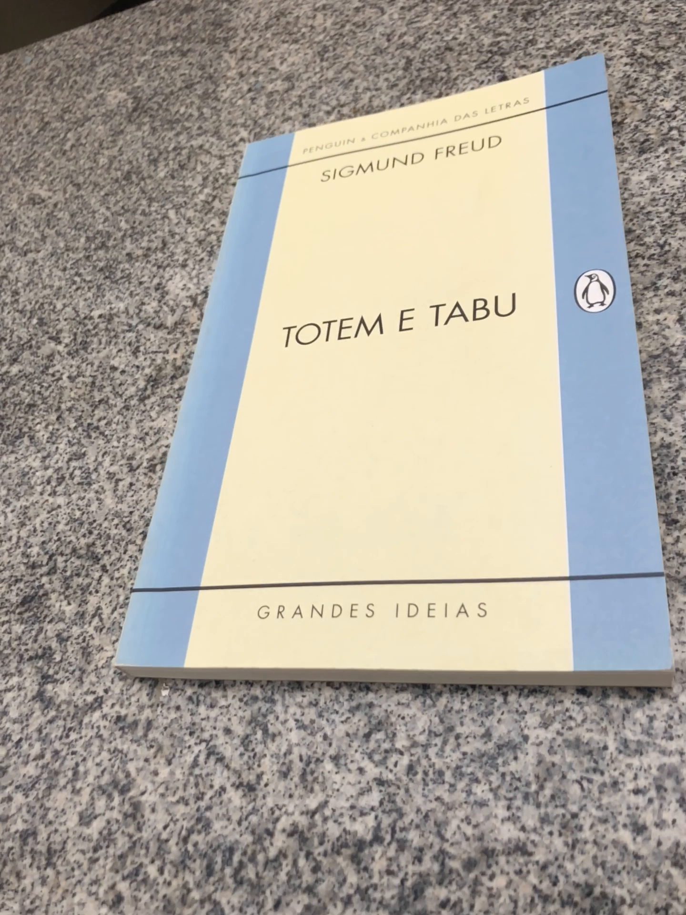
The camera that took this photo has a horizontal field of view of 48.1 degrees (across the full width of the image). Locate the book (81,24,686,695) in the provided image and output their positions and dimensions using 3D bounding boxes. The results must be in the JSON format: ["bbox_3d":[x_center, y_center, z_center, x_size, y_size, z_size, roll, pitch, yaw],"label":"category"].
[{"bbox_3d":[0.016,-0.038,0.205,0.130,0.015,0.192,-4,57,20],"label":"book"}]
